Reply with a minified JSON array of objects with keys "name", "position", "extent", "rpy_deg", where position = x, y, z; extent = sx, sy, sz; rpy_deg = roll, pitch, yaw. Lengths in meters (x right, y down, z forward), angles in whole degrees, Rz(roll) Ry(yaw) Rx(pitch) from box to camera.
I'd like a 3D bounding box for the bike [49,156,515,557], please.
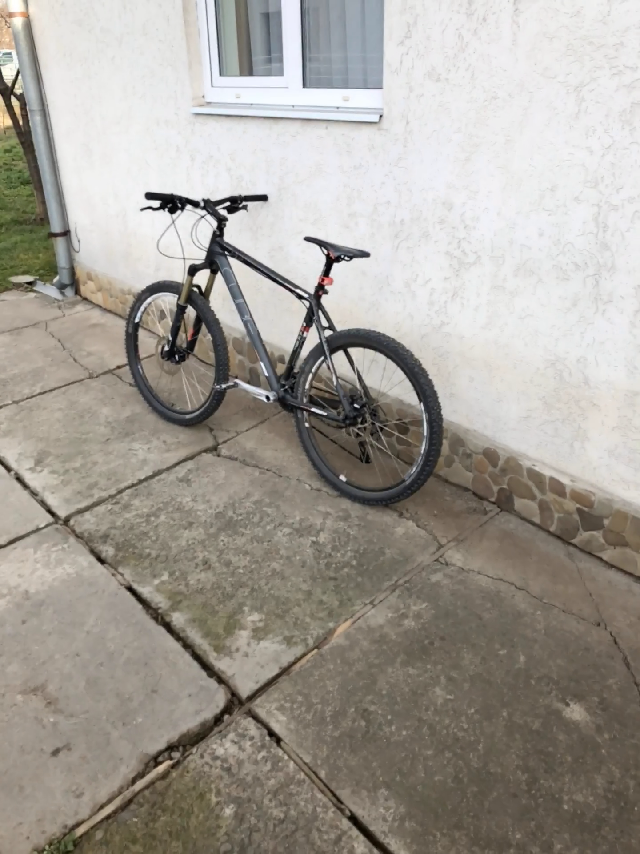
[{"name":"bike","position":[-0.230,-0.433,2.917],"extent":[1.776,1.090,0.689],"rpy_deg":[22,35,35]}]
